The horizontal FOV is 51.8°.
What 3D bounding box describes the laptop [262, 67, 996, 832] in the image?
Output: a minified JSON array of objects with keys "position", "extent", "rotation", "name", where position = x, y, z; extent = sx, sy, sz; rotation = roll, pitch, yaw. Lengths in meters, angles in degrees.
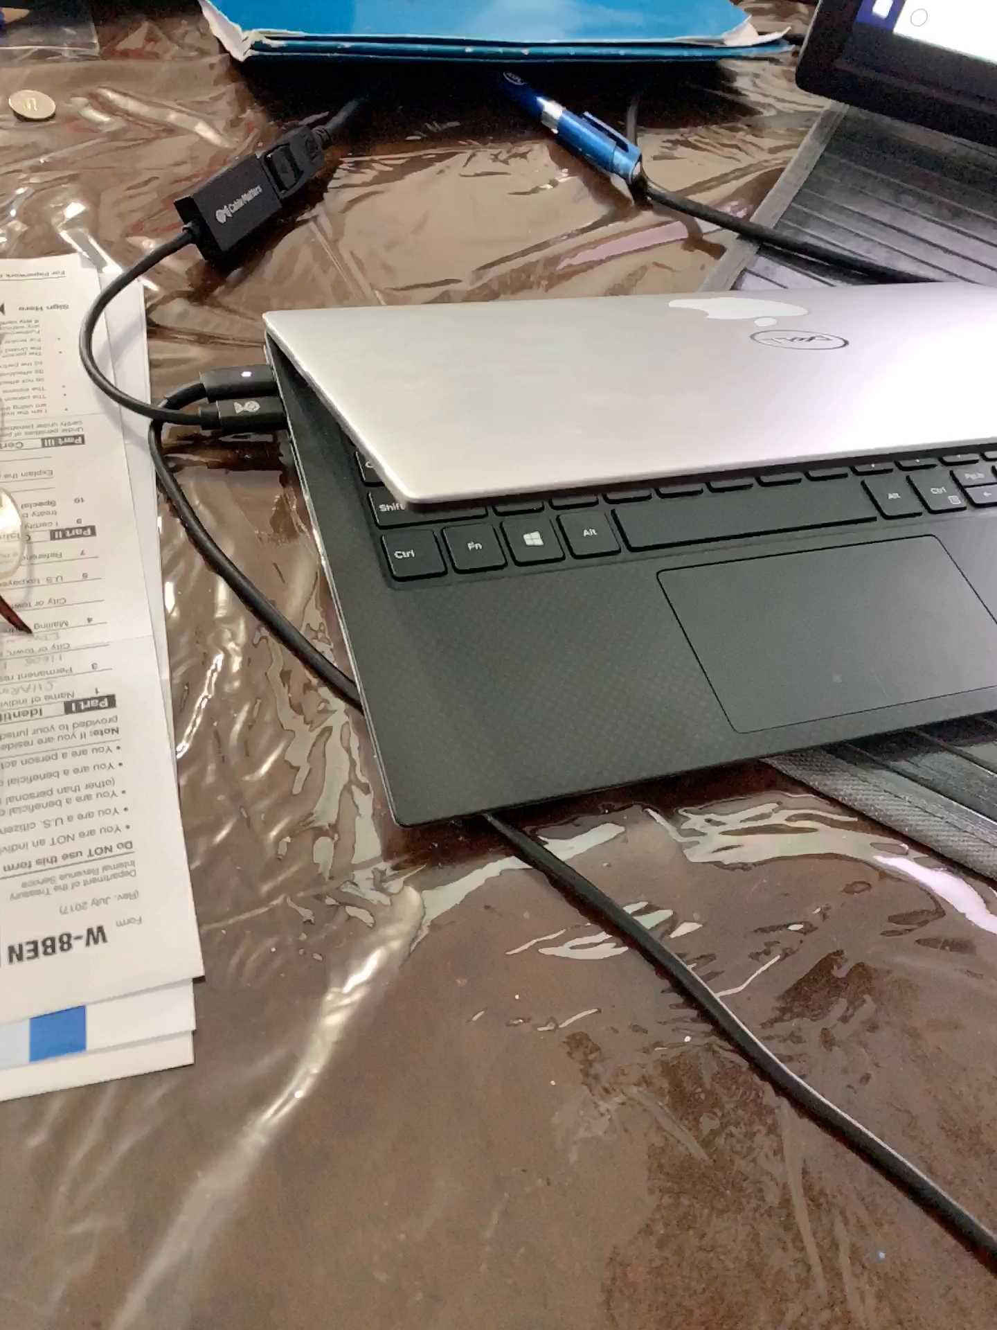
[{"position":[0.093,-0.081,0.301],"extent":[0.290,0.081,0.183],"rotation":[-9,57,-18],"name":"laptop"}]
